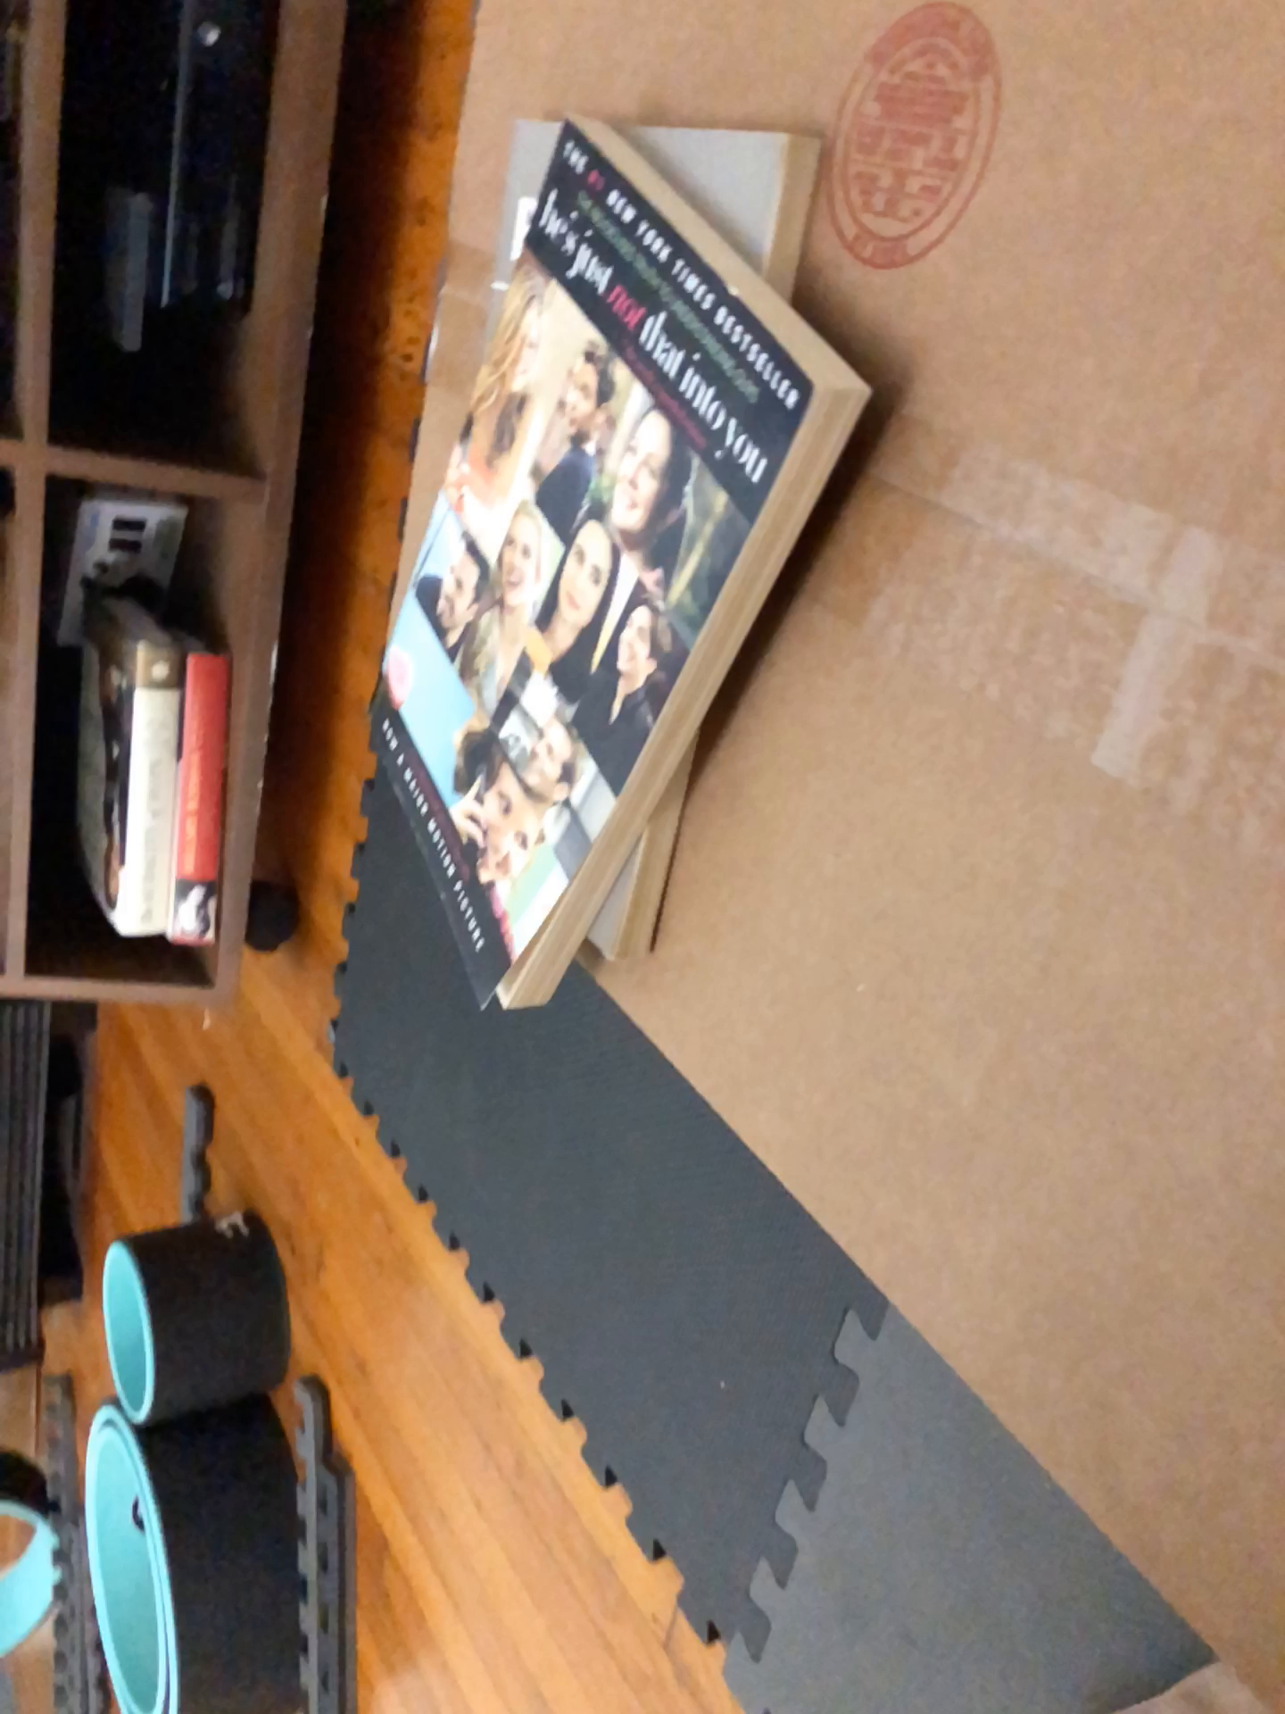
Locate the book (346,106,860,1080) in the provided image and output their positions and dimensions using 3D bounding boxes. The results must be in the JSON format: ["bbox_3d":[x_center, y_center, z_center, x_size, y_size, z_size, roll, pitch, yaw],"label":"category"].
[{"bbox_3d":[-0.032,-0.067,0.407,0.150,0.010,0.230,59,138,35],"label":"book"}]
